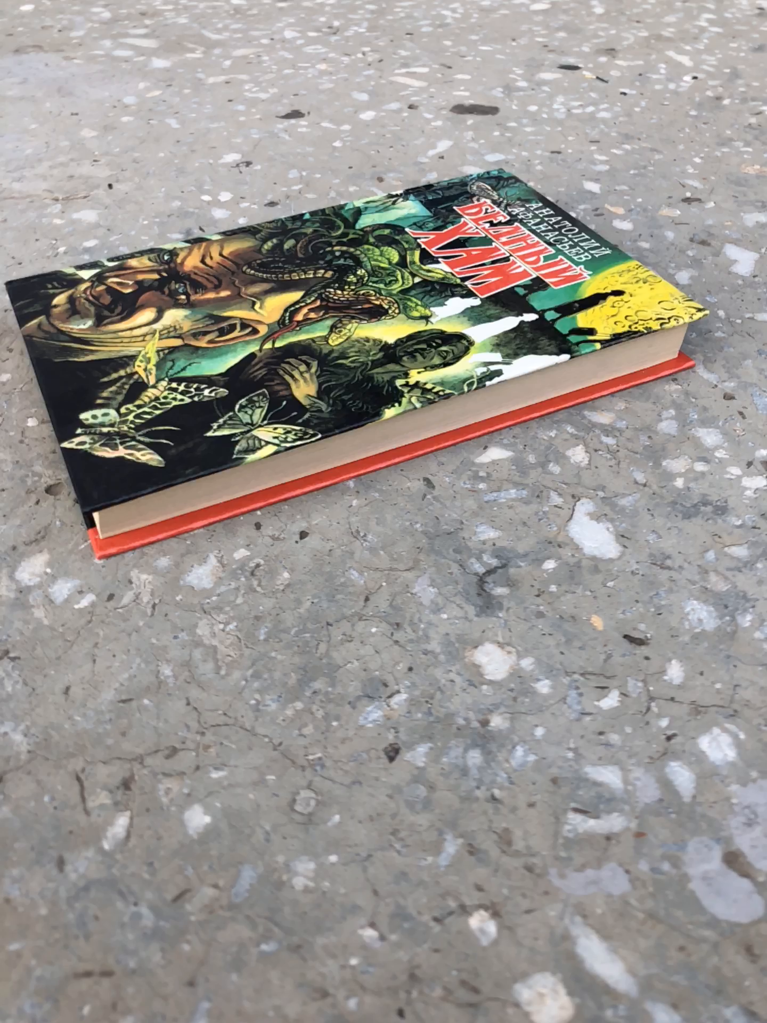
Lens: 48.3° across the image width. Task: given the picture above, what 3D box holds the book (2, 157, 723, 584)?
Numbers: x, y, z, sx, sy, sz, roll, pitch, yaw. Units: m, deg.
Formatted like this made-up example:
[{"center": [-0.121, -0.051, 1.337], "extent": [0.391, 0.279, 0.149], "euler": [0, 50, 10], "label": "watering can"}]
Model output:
[{"center": [-0.015, -0.065, 0.293], "extent": [0.201, 0.020, 0.143], "euler": [-20, 47, -16], "label": "book"}]
